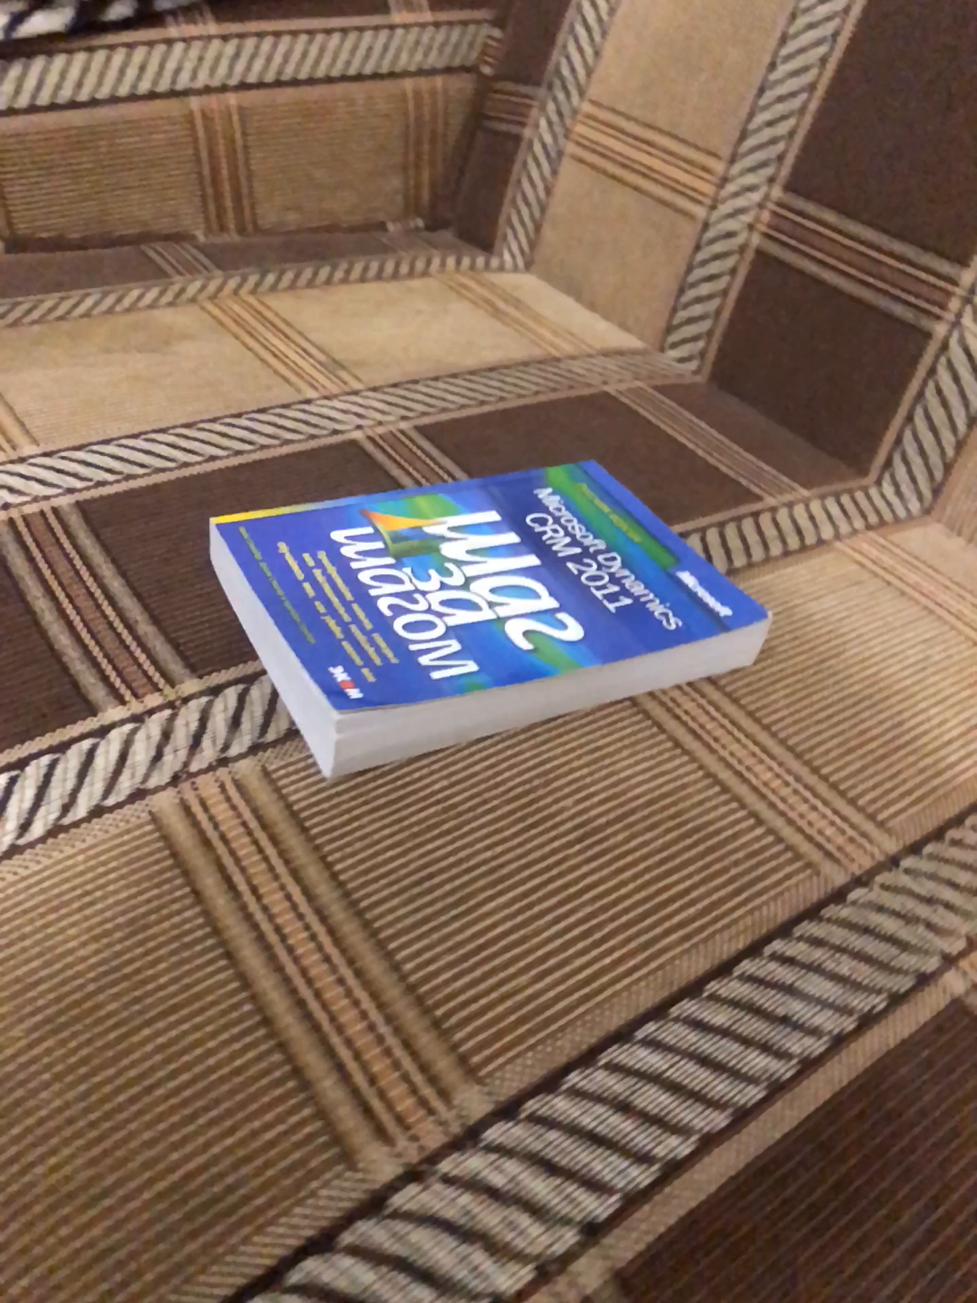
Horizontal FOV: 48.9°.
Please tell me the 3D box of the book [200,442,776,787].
[{"bbox_3d":[-0.004,-0.030,0.468,0.200,0.030,0.151,-14,43,-26],"label":"book"}]
